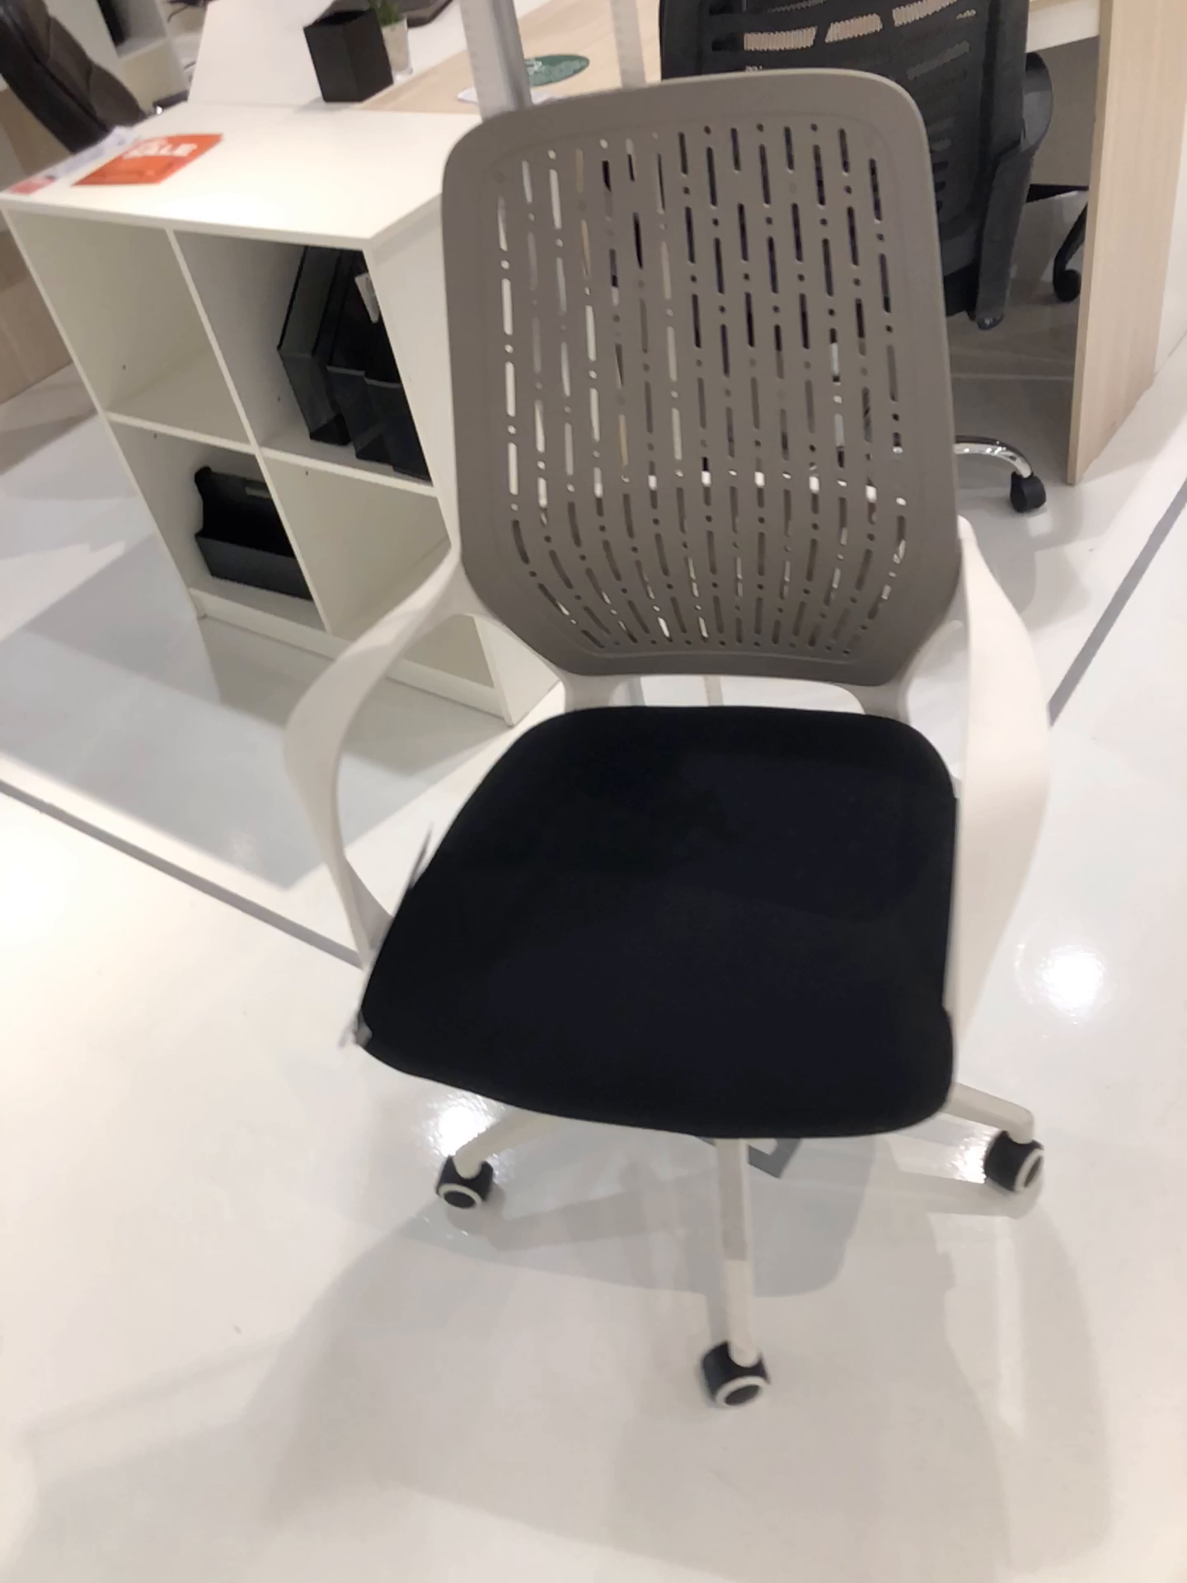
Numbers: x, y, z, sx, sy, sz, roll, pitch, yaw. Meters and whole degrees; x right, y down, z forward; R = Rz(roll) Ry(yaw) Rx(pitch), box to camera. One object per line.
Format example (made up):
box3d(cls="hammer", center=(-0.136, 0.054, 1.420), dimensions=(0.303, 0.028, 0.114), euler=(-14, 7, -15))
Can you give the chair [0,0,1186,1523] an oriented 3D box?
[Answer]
box3d(cls="chair", center=(0.078, 0.019, 1.122), dimensions=(0.691, 1.002, 0.675), euler=(4, 45, 17))
